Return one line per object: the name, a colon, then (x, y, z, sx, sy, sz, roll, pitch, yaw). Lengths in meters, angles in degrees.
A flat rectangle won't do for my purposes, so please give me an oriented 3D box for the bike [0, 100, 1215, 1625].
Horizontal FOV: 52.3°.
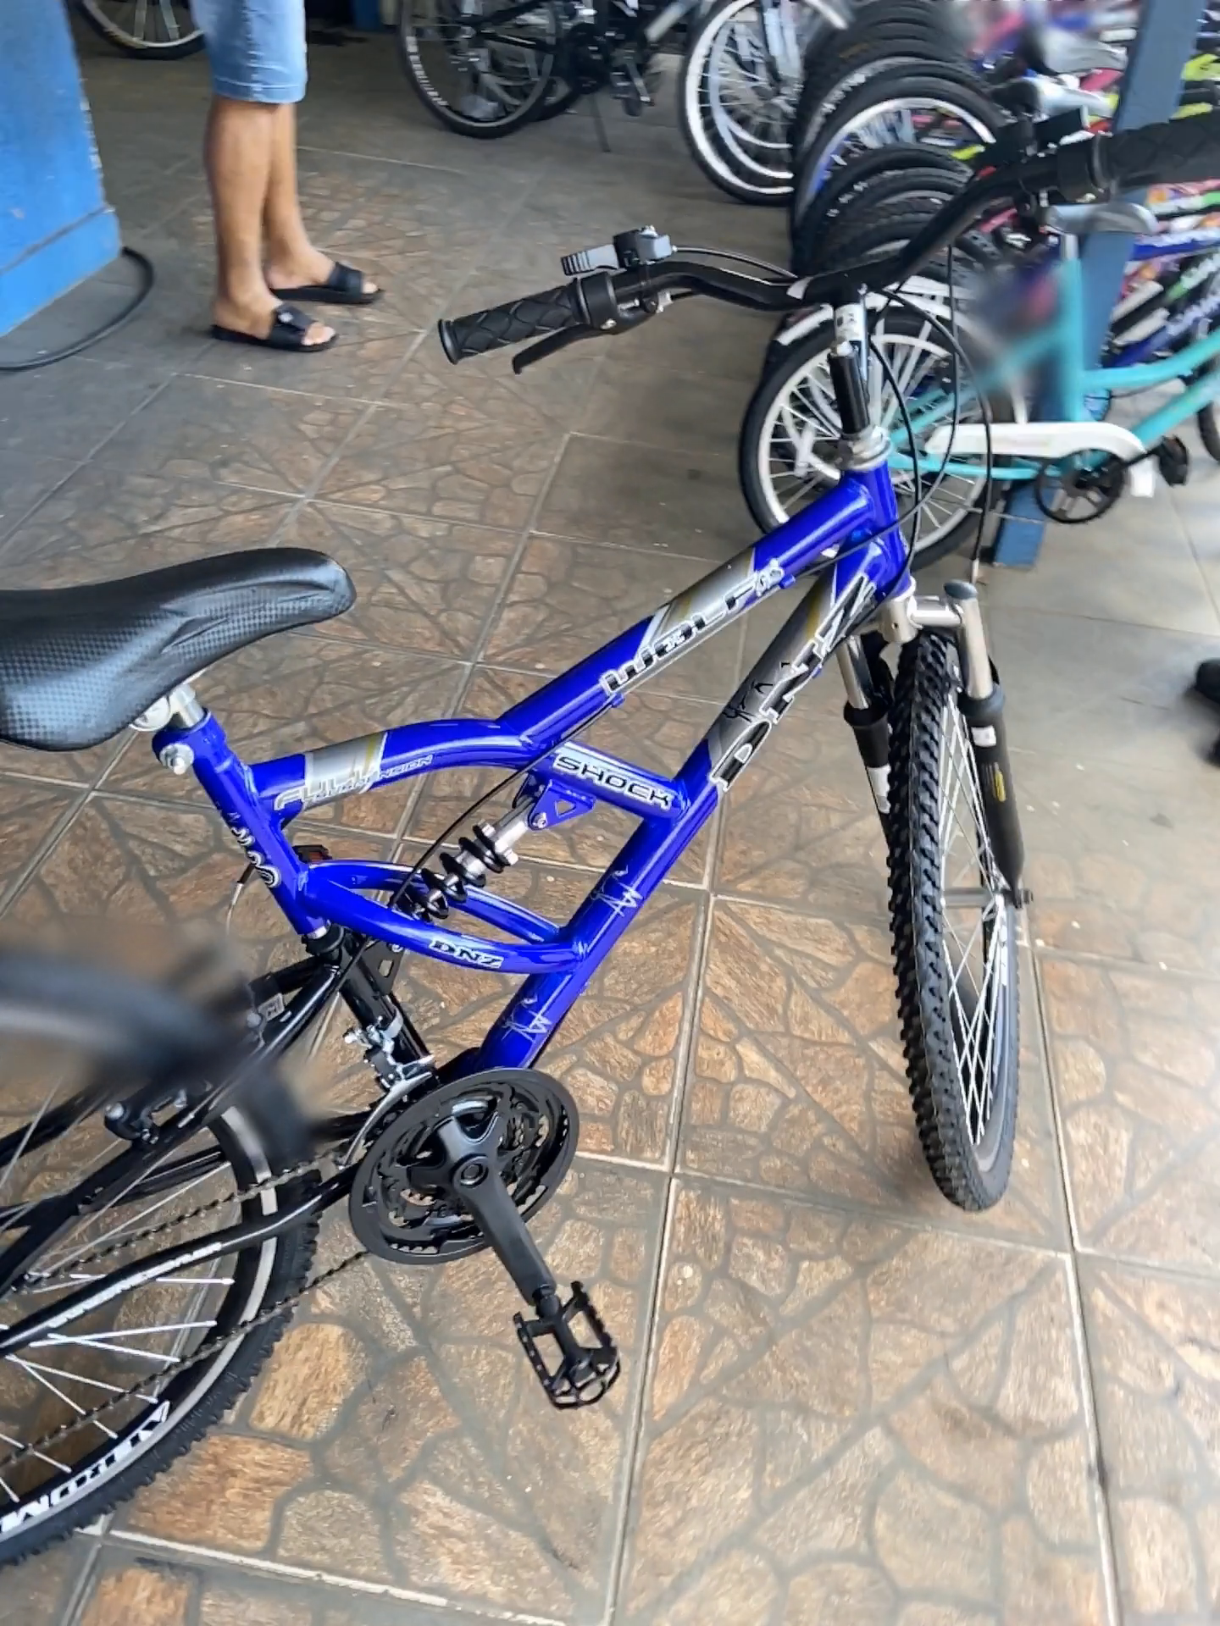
bike: (-0.258, -0.009, 1.201, 1.615, 1.019, 0.516, -23, 47, -28)
